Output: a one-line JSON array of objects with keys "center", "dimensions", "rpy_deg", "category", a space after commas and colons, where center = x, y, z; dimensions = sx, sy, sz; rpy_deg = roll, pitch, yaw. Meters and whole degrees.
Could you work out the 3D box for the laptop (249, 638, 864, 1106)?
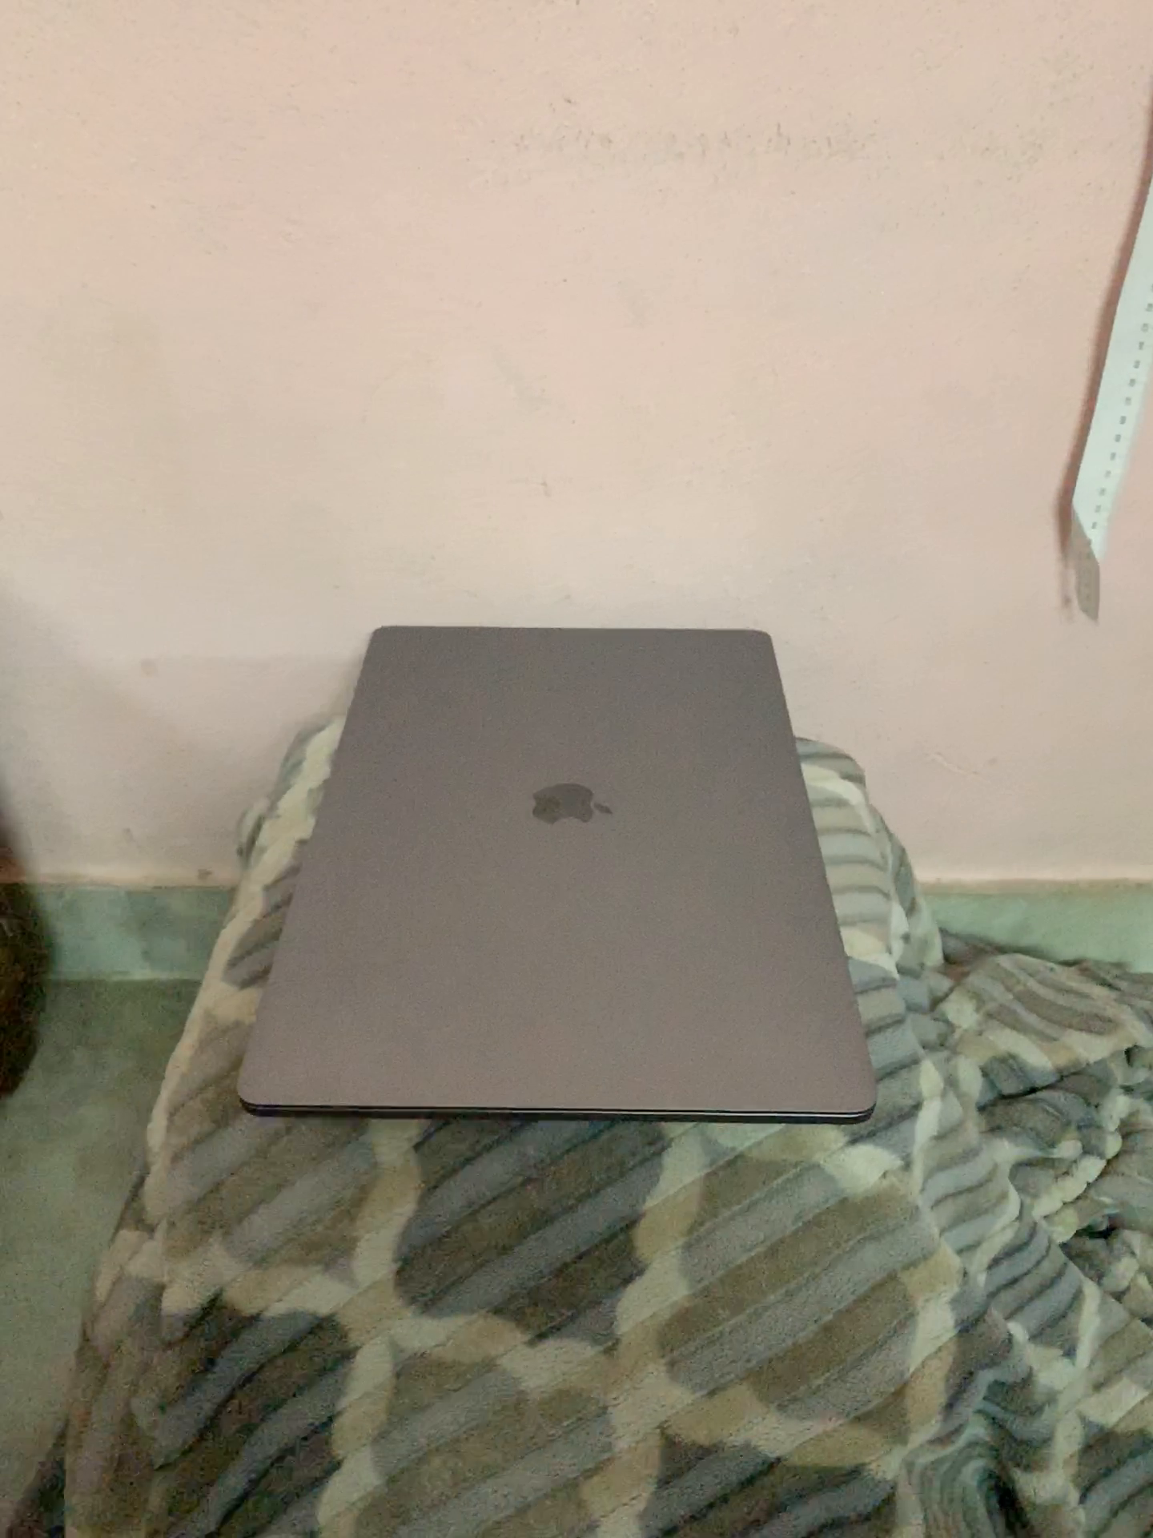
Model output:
[{"center": [-0.004, 0.023, 0.570], "dimensions": [0.228, 0.002, 0.327], "rpy_deg": [1, 37, 2], "category": "laptop"}]
